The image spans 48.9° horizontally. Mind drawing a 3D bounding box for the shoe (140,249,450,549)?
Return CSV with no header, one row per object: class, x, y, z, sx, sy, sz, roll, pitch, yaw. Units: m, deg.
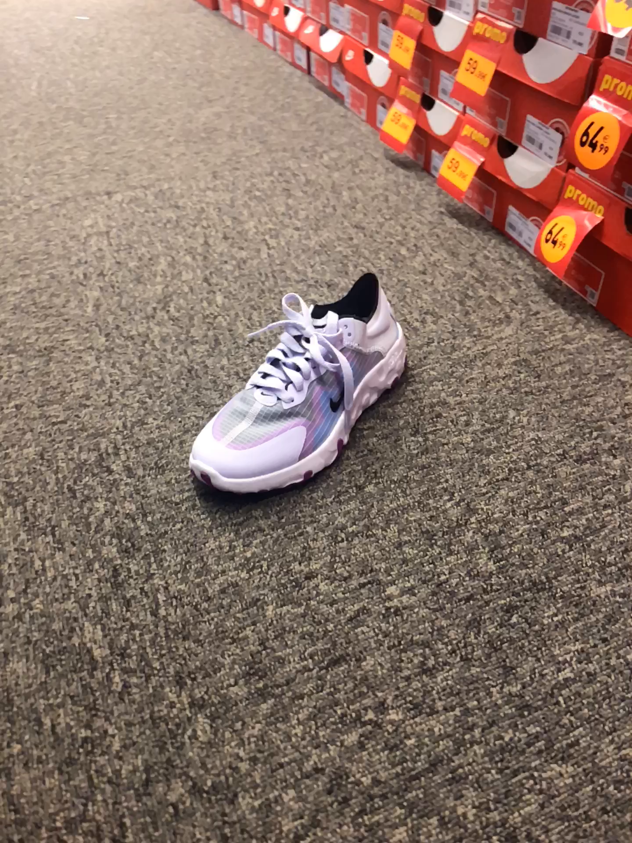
shoe,-0.004,-0.033,0.579,0.100,0.099,0.261,27,49,28
